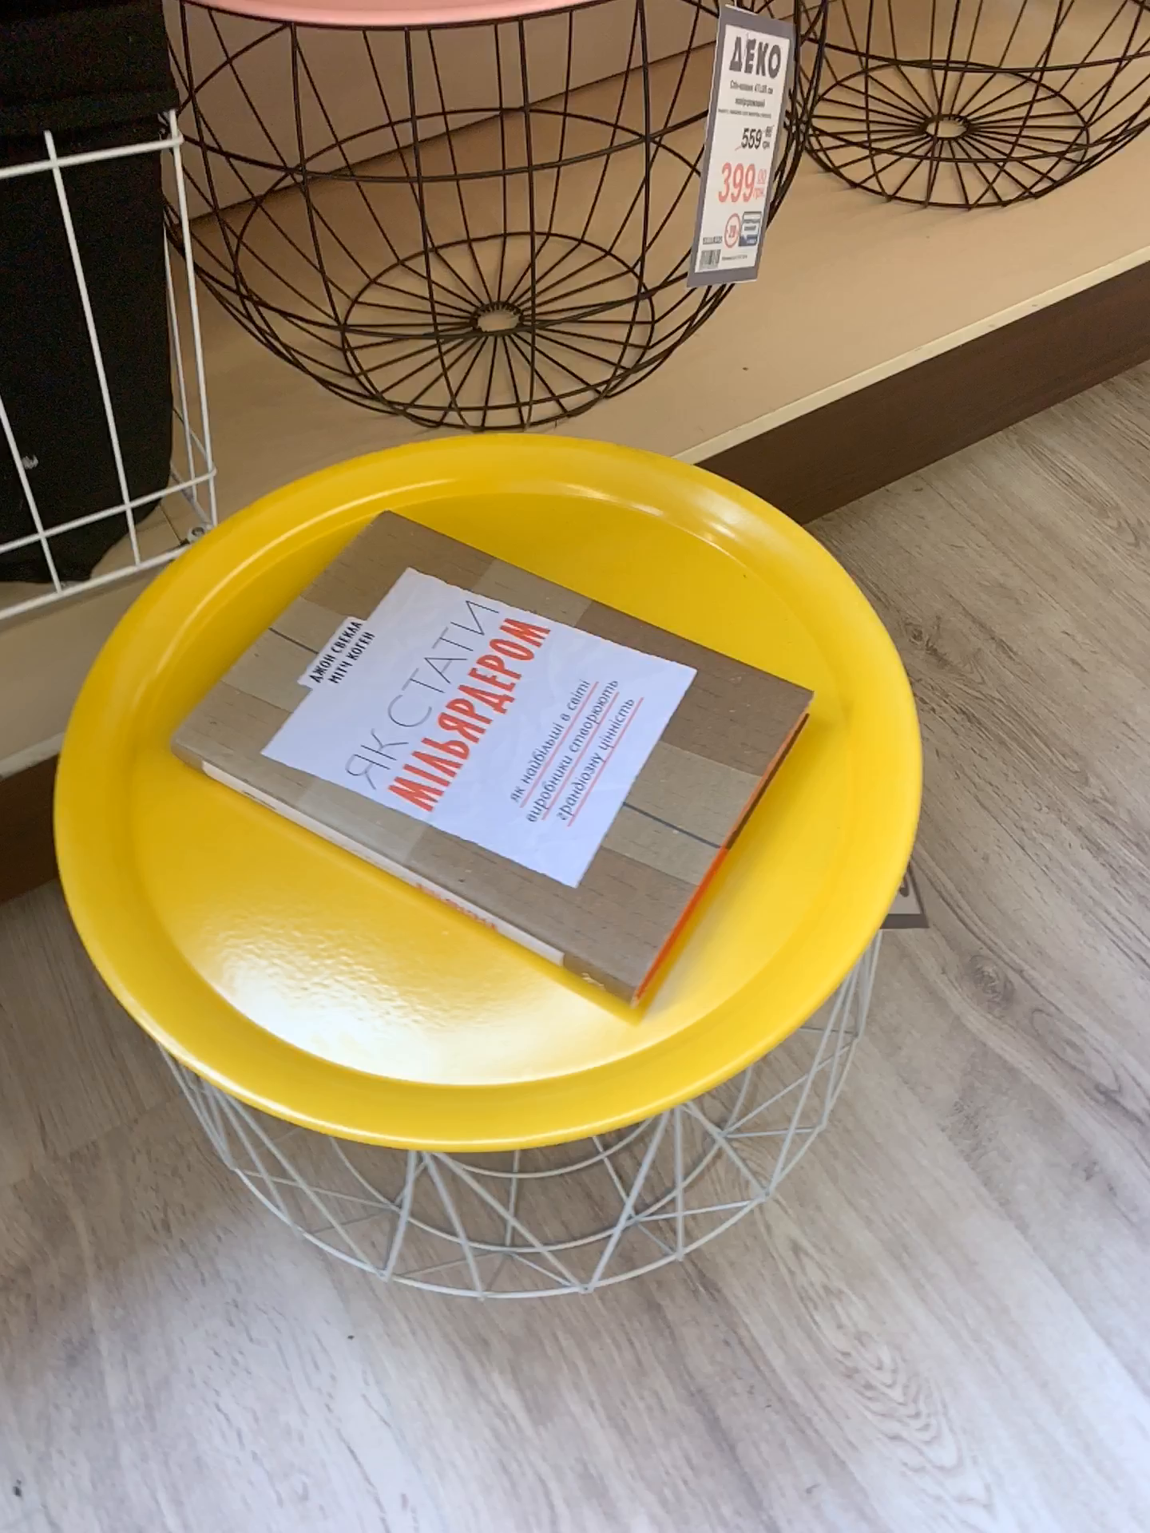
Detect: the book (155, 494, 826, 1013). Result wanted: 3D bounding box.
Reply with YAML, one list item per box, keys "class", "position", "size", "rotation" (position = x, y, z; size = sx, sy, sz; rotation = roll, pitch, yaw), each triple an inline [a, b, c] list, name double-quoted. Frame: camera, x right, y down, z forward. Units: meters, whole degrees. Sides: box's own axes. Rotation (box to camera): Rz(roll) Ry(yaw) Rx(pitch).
- class: "book"
  position: [-0.035, -0.020, 0.517]
  size: [0.236, 0.020, 0.170]
  rotation: [24, 60, 17]
